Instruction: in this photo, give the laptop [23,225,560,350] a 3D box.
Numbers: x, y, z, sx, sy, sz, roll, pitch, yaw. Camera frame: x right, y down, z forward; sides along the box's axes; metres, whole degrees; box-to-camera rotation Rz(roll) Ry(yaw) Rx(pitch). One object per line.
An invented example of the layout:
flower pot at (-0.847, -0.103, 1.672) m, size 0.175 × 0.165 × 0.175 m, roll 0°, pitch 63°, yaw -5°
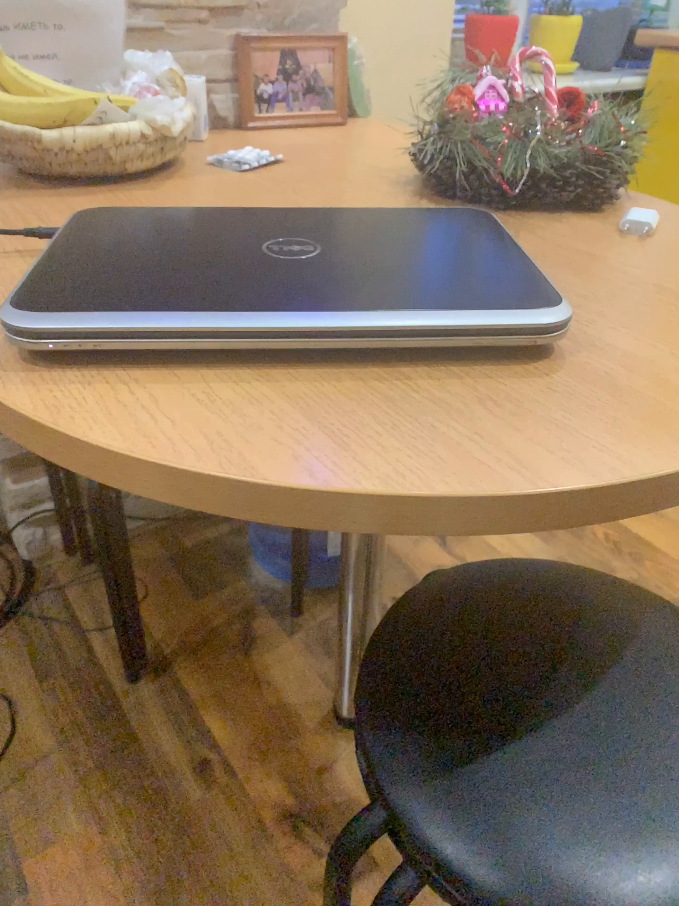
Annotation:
laptop at (-0.034, -0.138, 0.546) m, size 0.348 × 0.004 × 0.226 m, roll -1°, pitch 37°, yaw -3°
